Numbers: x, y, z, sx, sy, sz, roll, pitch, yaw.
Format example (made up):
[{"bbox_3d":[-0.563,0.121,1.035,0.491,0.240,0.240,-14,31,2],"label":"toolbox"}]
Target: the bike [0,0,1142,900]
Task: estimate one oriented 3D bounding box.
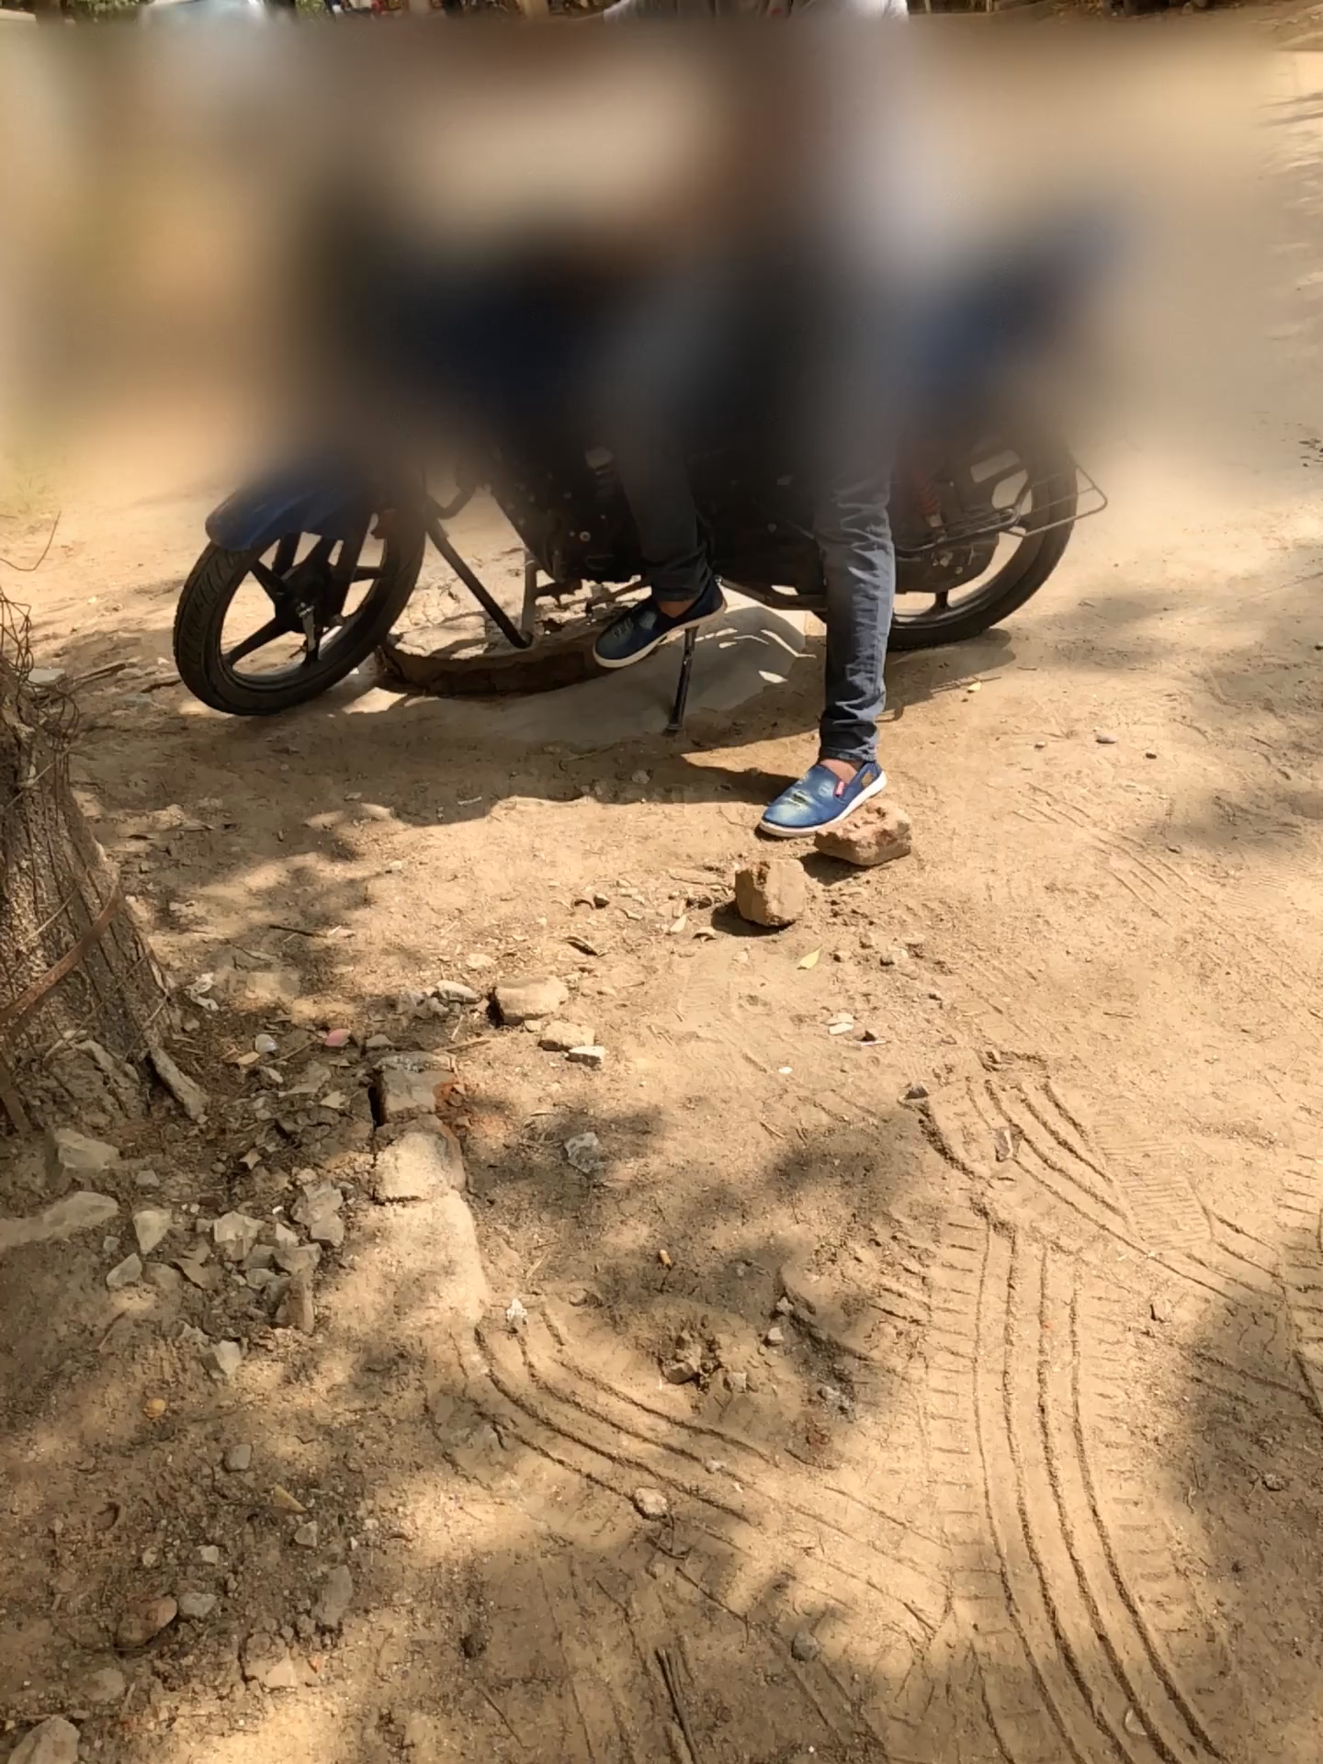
[{"bbox_3d":[-0.129,-0.832,2.624,1.783,1.242,0.744,-11,33,0],"label":"bike"}]
